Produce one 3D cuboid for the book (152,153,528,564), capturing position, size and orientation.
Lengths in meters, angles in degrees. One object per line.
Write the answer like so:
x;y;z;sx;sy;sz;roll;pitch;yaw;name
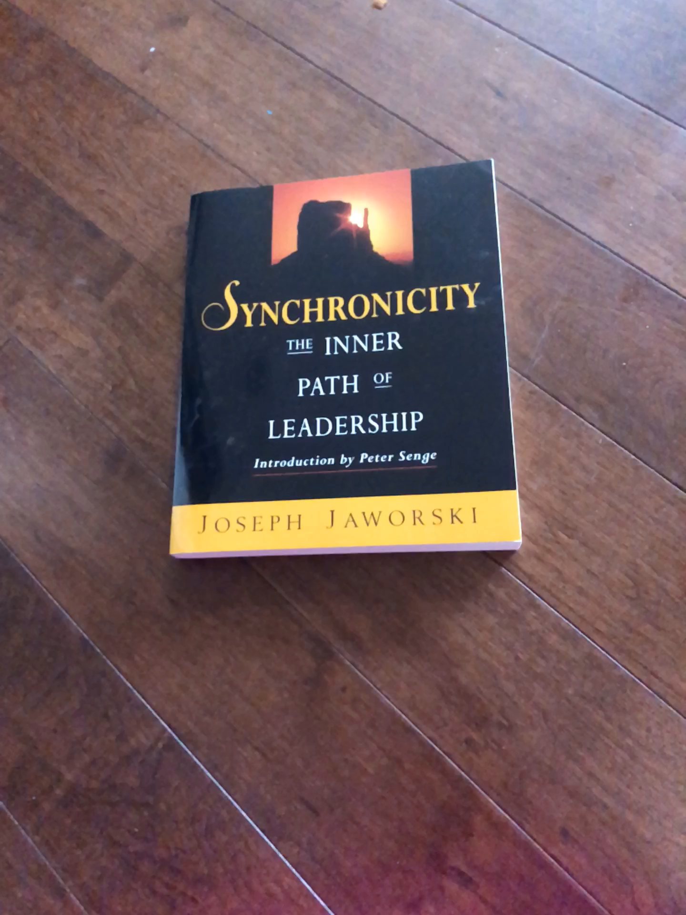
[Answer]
-0.003;-0.057;0.427;0.190;0.030;0.223;-3;72;9;book
